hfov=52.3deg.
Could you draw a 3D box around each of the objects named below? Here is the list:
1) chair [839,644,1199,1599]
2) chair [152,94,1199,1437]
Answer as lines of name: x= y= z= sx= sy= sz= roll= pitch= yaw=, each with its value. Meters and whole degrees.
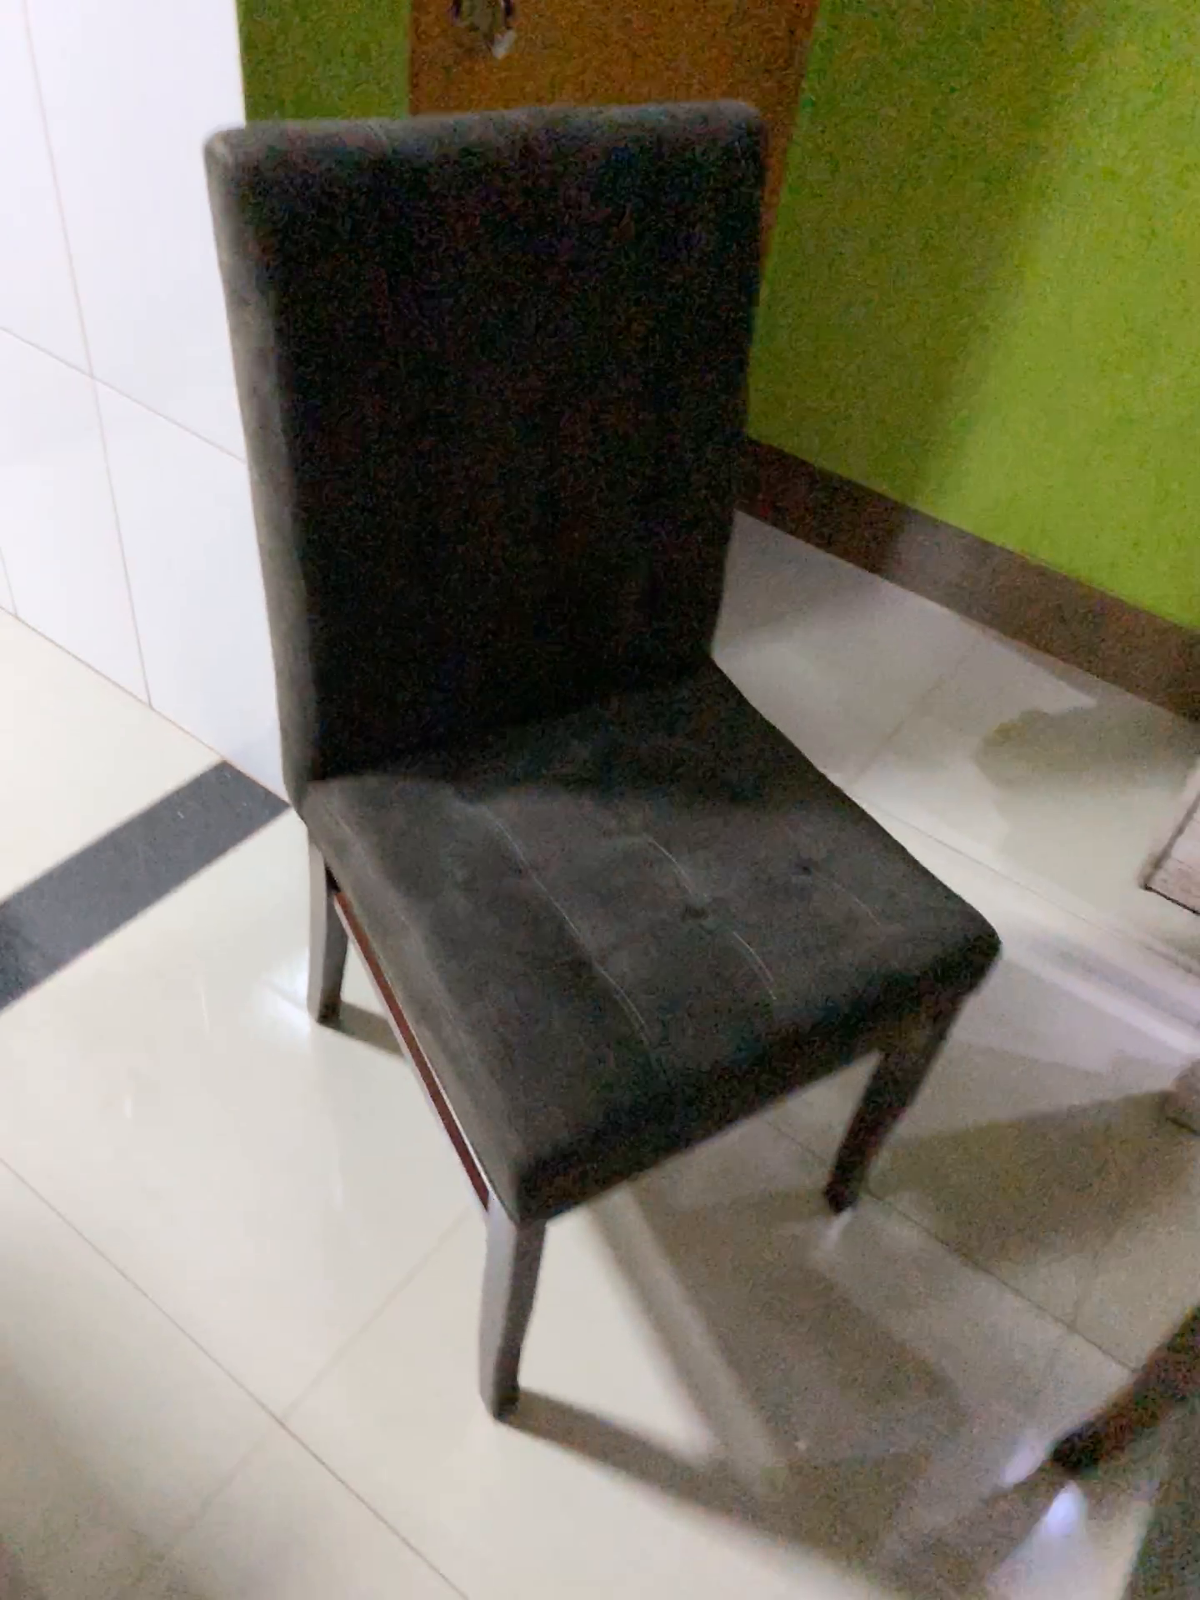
chair: x=0.621 y=0.542 z=0.670 sx=0.571 sy=0.971 sz=0.524 roll=31 pitch=48 yaw=21
chair: x=0.000 y=0.005 z=1.108 sx=0.492 sy=0.981 sz=0.573 roll=-20 pitch=51 yaw=-27
